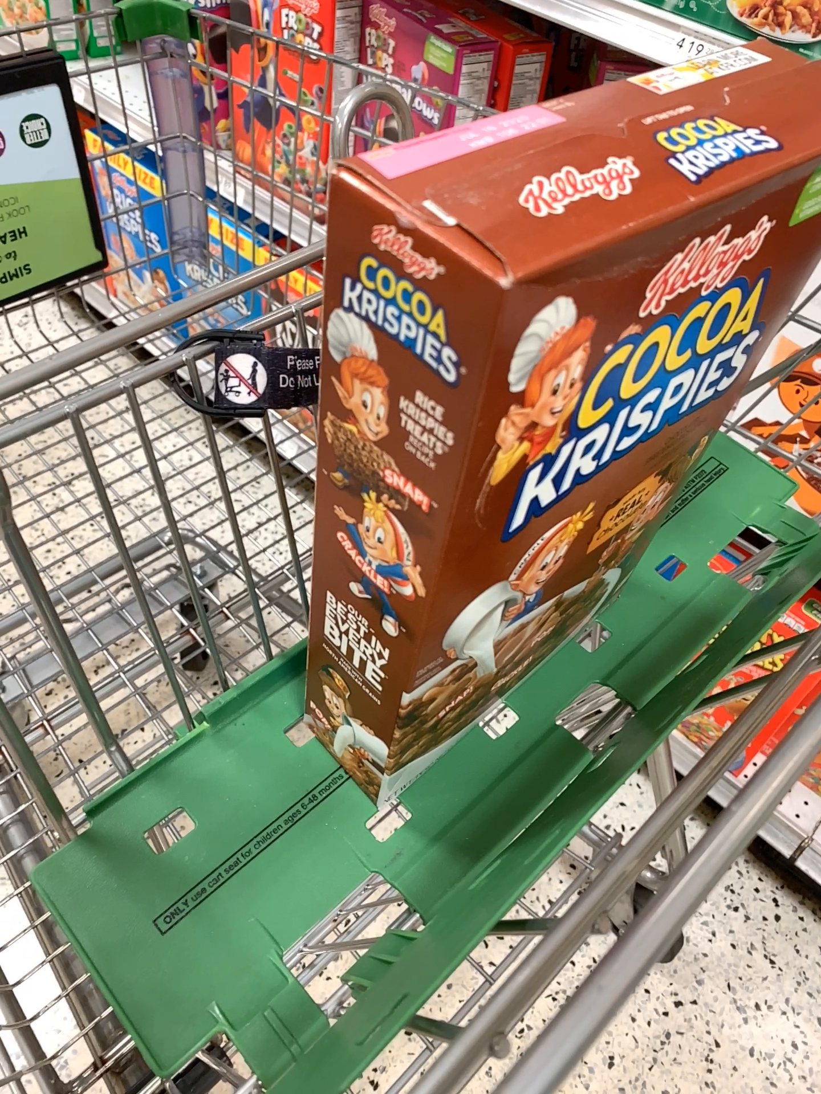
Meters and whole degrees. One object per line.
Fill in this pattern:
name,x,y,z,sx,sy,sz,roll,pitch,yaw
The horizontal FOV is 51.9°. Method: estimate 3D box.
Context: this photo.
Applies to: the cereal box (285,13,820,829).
cereal box,0.050,-0.024,0.349,0.201,0.307,0.060,-33,64,-30
